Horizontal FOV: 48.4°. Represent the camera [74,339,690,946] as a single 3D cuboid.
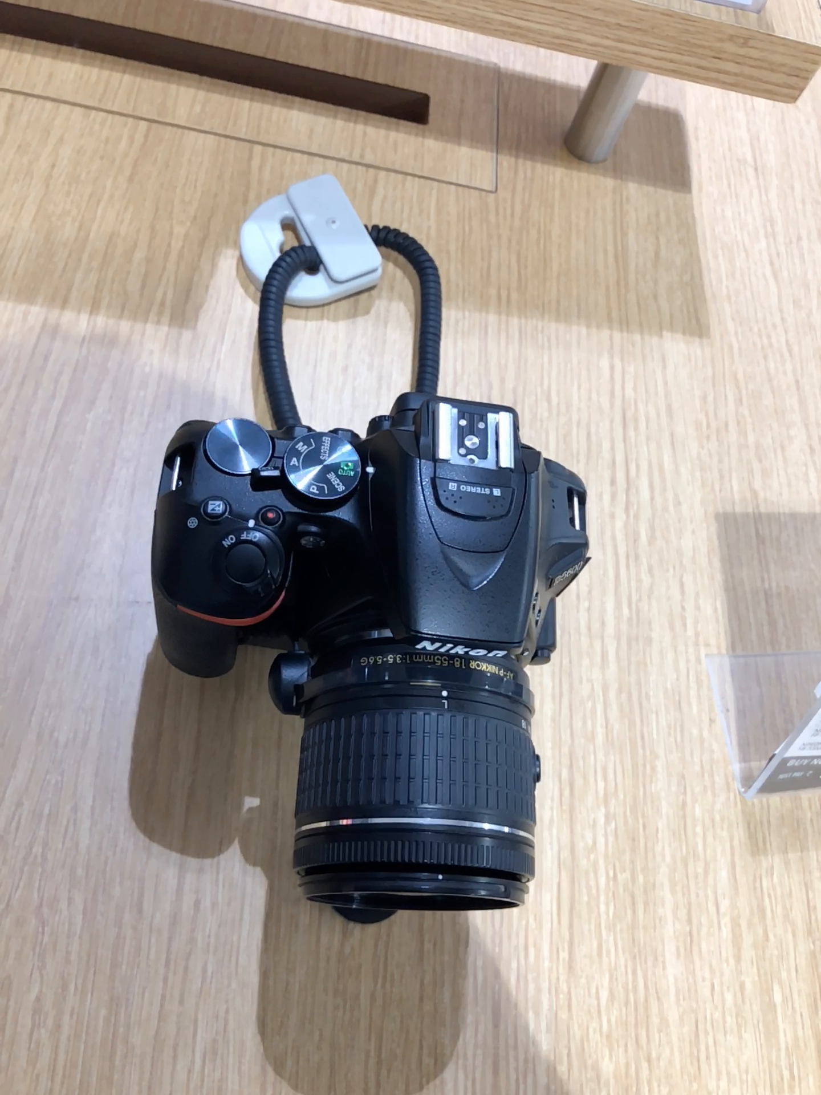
[{"bbox_3d":[-0.009,0.029,0.235,0.120,0.070,0.130,6,63,-11],"label":"camera"}]
